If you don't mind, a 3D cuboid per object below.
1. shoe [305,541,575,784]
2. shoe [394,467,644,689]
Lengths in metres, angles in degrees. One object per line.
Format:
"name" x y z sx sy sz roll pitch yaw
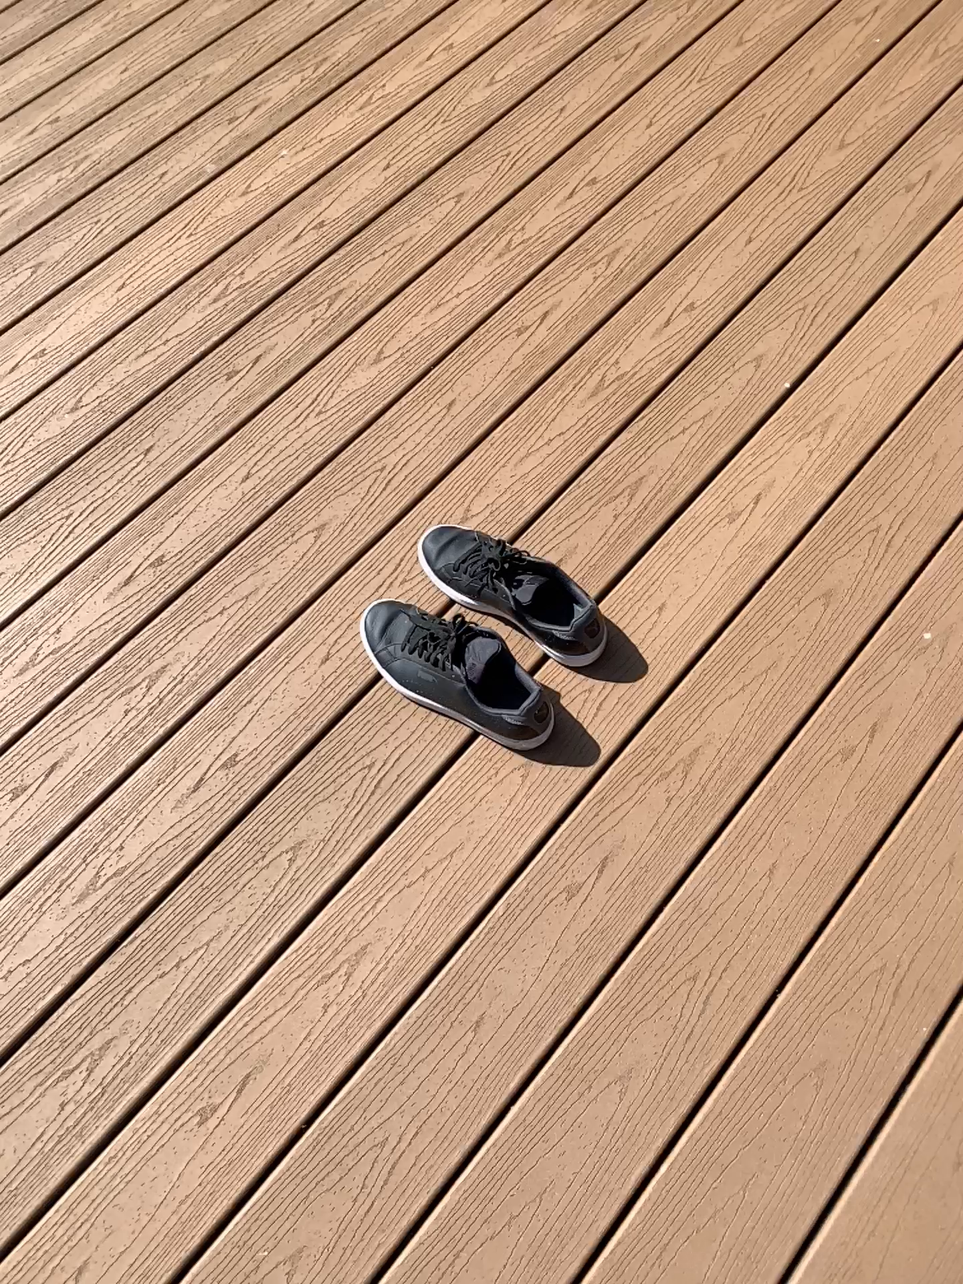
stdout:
"shoe" -0.047 0.021 1.150 0.300 0.107 0.112 33 69 19
"shoe" 0.043 -0.079 1.189 0.280 0.104 0.110 33 69 19
